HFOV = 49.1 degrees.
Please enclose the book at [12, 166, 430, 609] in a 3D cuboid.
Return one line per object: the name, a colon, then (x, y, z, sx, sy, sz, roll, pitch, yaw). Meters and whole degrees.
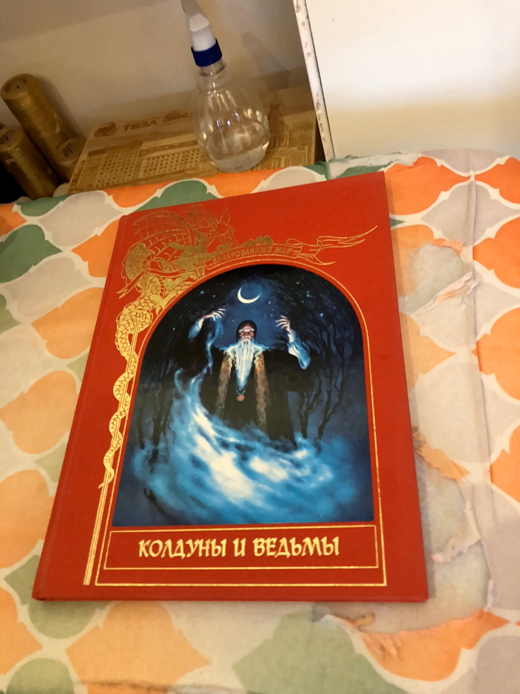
book: (-0.020, 0.007, 0.366, 0.215, 0.020, 0.291, -6, 56, 14)
